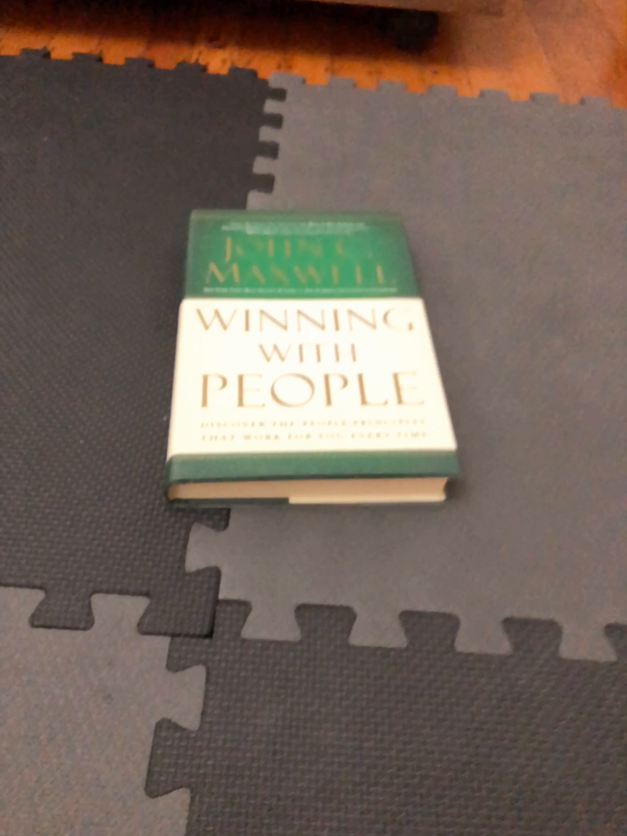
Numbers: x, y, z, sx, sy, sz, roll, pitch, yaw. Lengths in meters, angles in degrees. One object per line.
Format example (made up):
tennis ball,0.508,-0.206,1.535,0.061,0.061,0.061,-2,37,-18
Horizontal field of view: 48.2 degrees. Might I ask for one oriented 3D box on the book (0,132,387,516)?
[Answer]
book,-0.071,-0.076,0.416,0.200,0.030,0.292,1,50,-4
